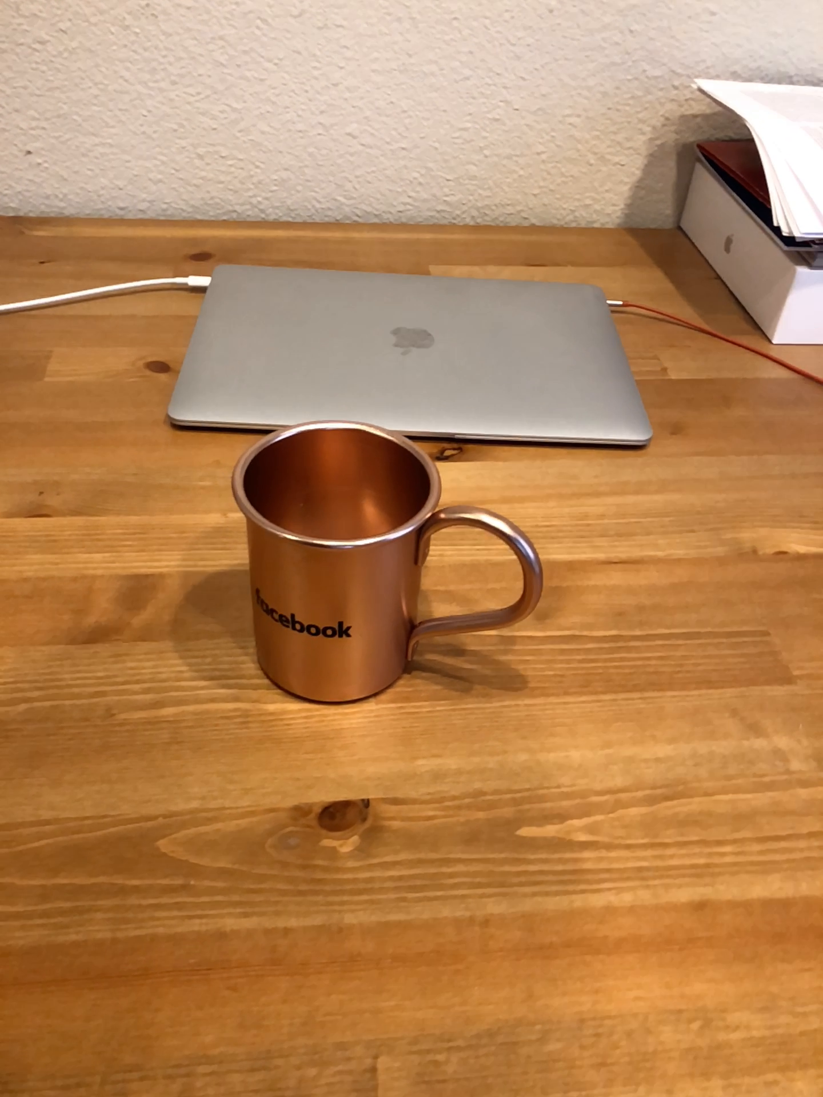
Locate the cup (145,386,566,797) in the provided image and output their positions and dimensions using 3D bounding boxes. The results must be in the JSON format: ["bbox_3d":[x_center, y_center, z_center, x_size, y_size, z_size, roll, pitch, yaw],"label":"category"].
[{"bbox_3d":[-0.021,0.014,0.363,0.130,0.100,0.080,19,43,17],"label":"cup"}]
